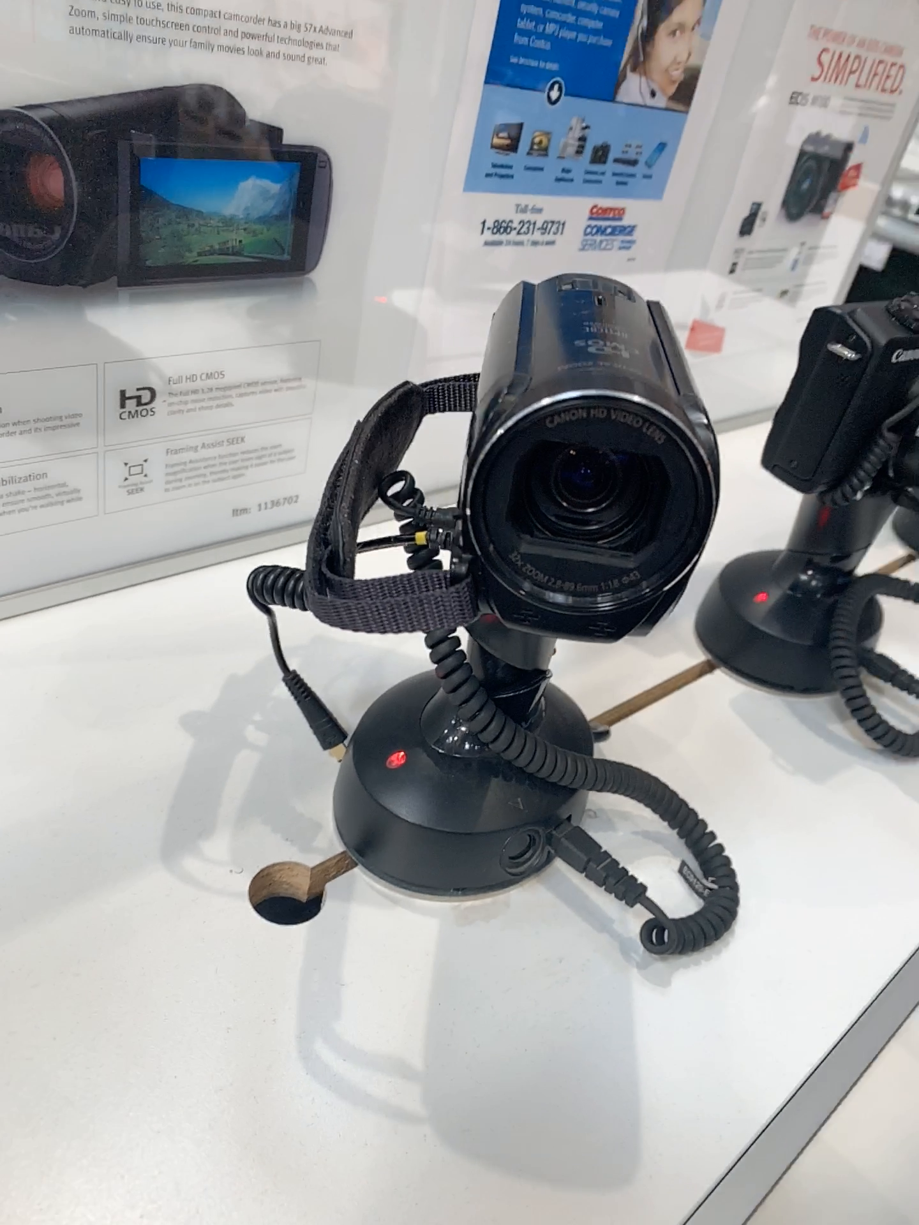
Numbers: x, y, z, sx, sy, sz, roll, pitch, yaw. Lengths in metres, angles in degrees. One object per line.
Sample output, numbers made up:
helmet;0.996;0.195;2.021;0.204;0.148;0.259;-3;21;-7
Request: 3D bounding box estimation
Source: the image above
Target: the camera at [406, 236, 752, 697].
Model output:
camera;0.025;-0.043;0.223;0.050;0.050;0.126;13;33;-1
